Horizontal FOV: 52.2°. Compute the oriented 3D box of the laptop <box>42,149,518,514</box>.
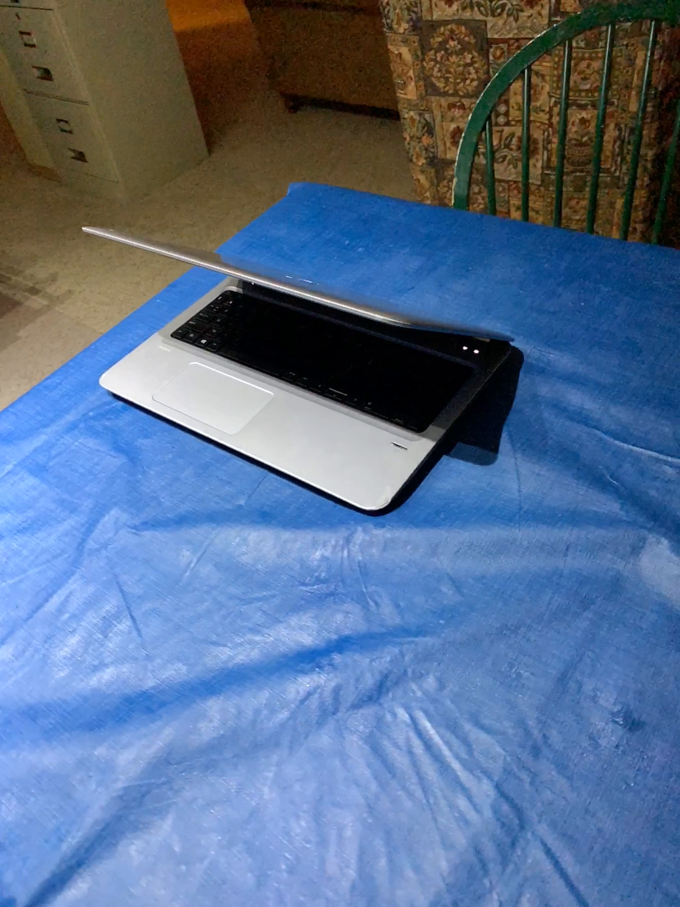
[{"bbox_3d":[-0.053,-0.147,0.684,0.366,0.156,0.254,23,55,30],"label":"laptop"}]
